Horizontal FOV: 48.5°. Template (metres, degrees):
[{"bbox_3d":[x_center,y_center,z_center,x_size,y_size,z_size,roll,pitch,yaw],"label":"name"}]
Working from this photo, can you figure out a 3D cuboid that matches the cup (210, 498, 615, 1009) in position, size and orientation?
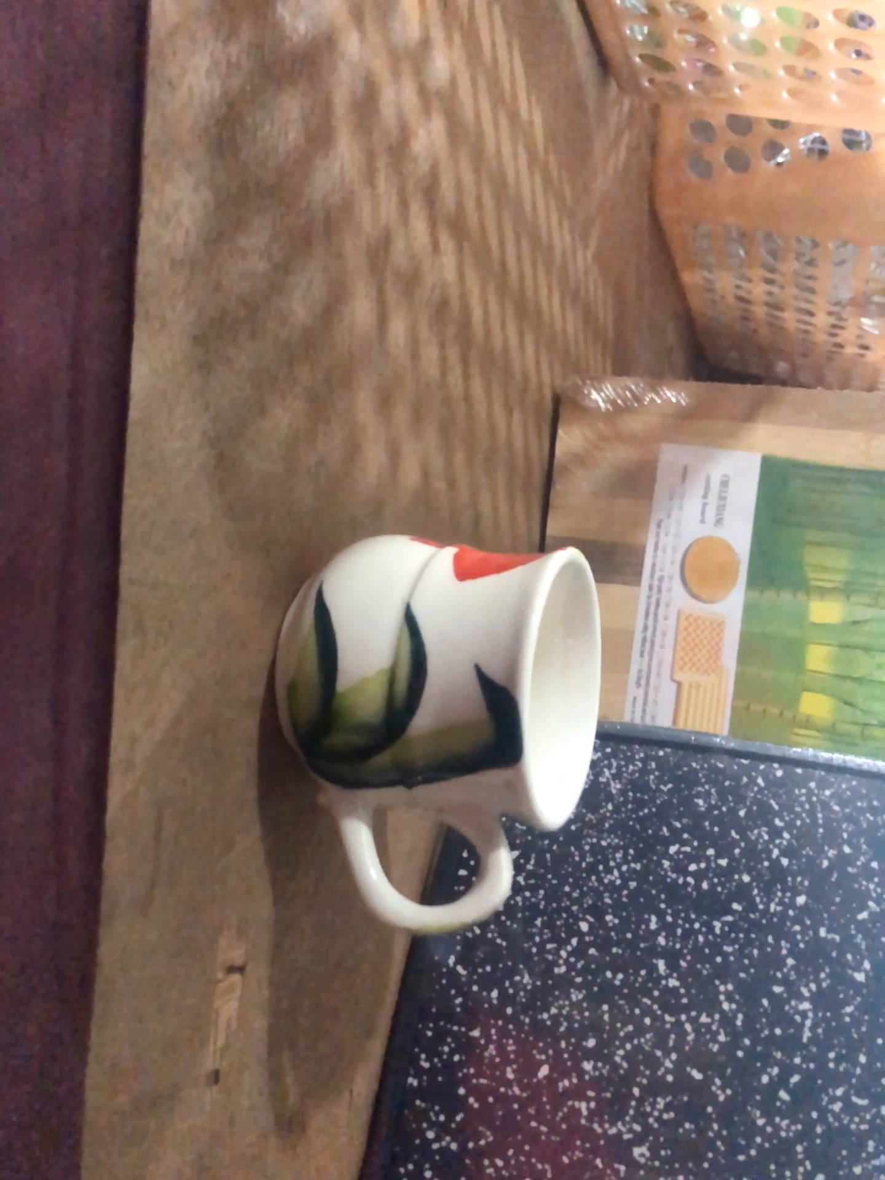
[{"bbox_3d":[-0.002,0.032,0.213,0.060,0.060,0.090,25,69,-67],"label":"cup"}]
